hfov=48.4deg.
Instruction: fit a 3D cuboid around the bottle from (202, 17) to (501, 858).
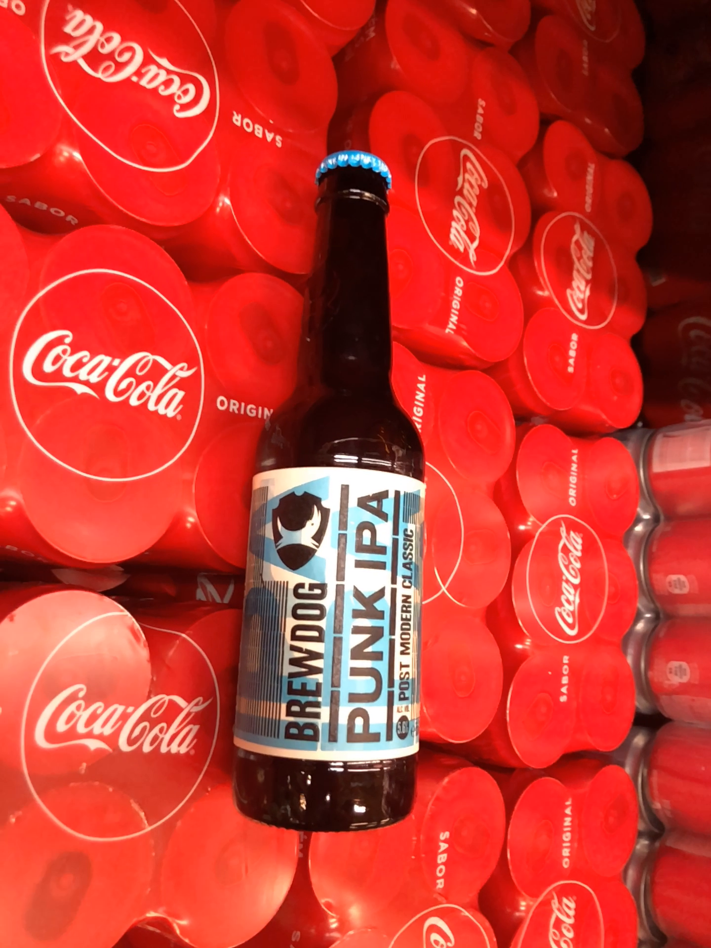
[{"bbox_3d":[0.001,-0.013,0.254,0.060,0.060,0.230,10,78,-39],"label":"bottle"}]
